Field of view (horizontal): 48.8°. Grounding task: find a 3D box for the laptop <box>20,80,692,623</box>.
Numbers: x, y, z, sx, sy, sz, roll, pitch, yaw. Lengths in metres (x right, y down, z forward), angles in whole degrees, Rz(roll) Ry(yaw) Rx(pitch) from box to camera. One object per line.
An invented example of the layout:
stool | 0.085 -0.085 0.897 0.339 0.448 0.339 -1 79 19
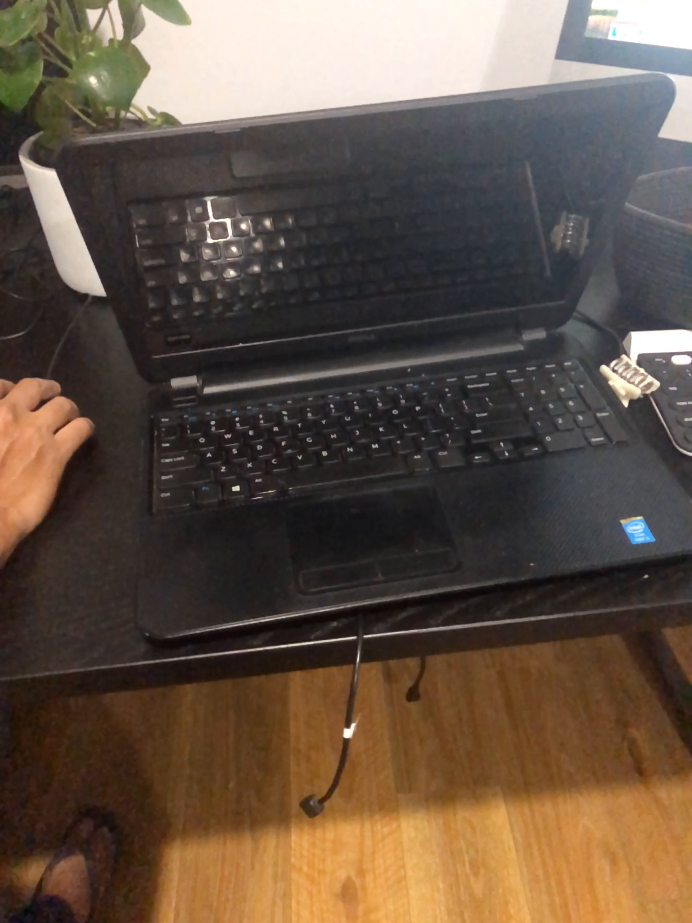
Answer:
laptop | 0.026 -0.074 0.479 0.366 0.210 0.207 -7 43 -4
